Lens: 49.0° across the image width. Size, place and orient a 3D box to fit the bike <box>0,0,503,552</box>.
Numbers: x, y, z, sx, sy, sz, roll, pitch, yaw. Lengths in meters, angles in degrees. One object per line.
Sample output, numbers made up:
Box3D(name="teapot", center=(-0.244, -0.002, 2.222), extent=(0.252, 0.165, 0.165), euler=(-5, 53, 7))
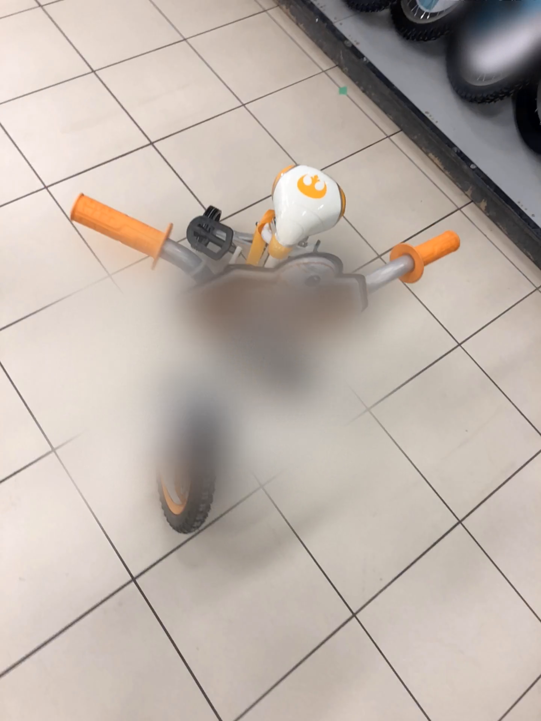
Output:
Box3D(name="bike", center=(-0.033, -0.152, 1.047), extent=(0.435, 0.715, 0.817), euler=(18, 64, -1))
